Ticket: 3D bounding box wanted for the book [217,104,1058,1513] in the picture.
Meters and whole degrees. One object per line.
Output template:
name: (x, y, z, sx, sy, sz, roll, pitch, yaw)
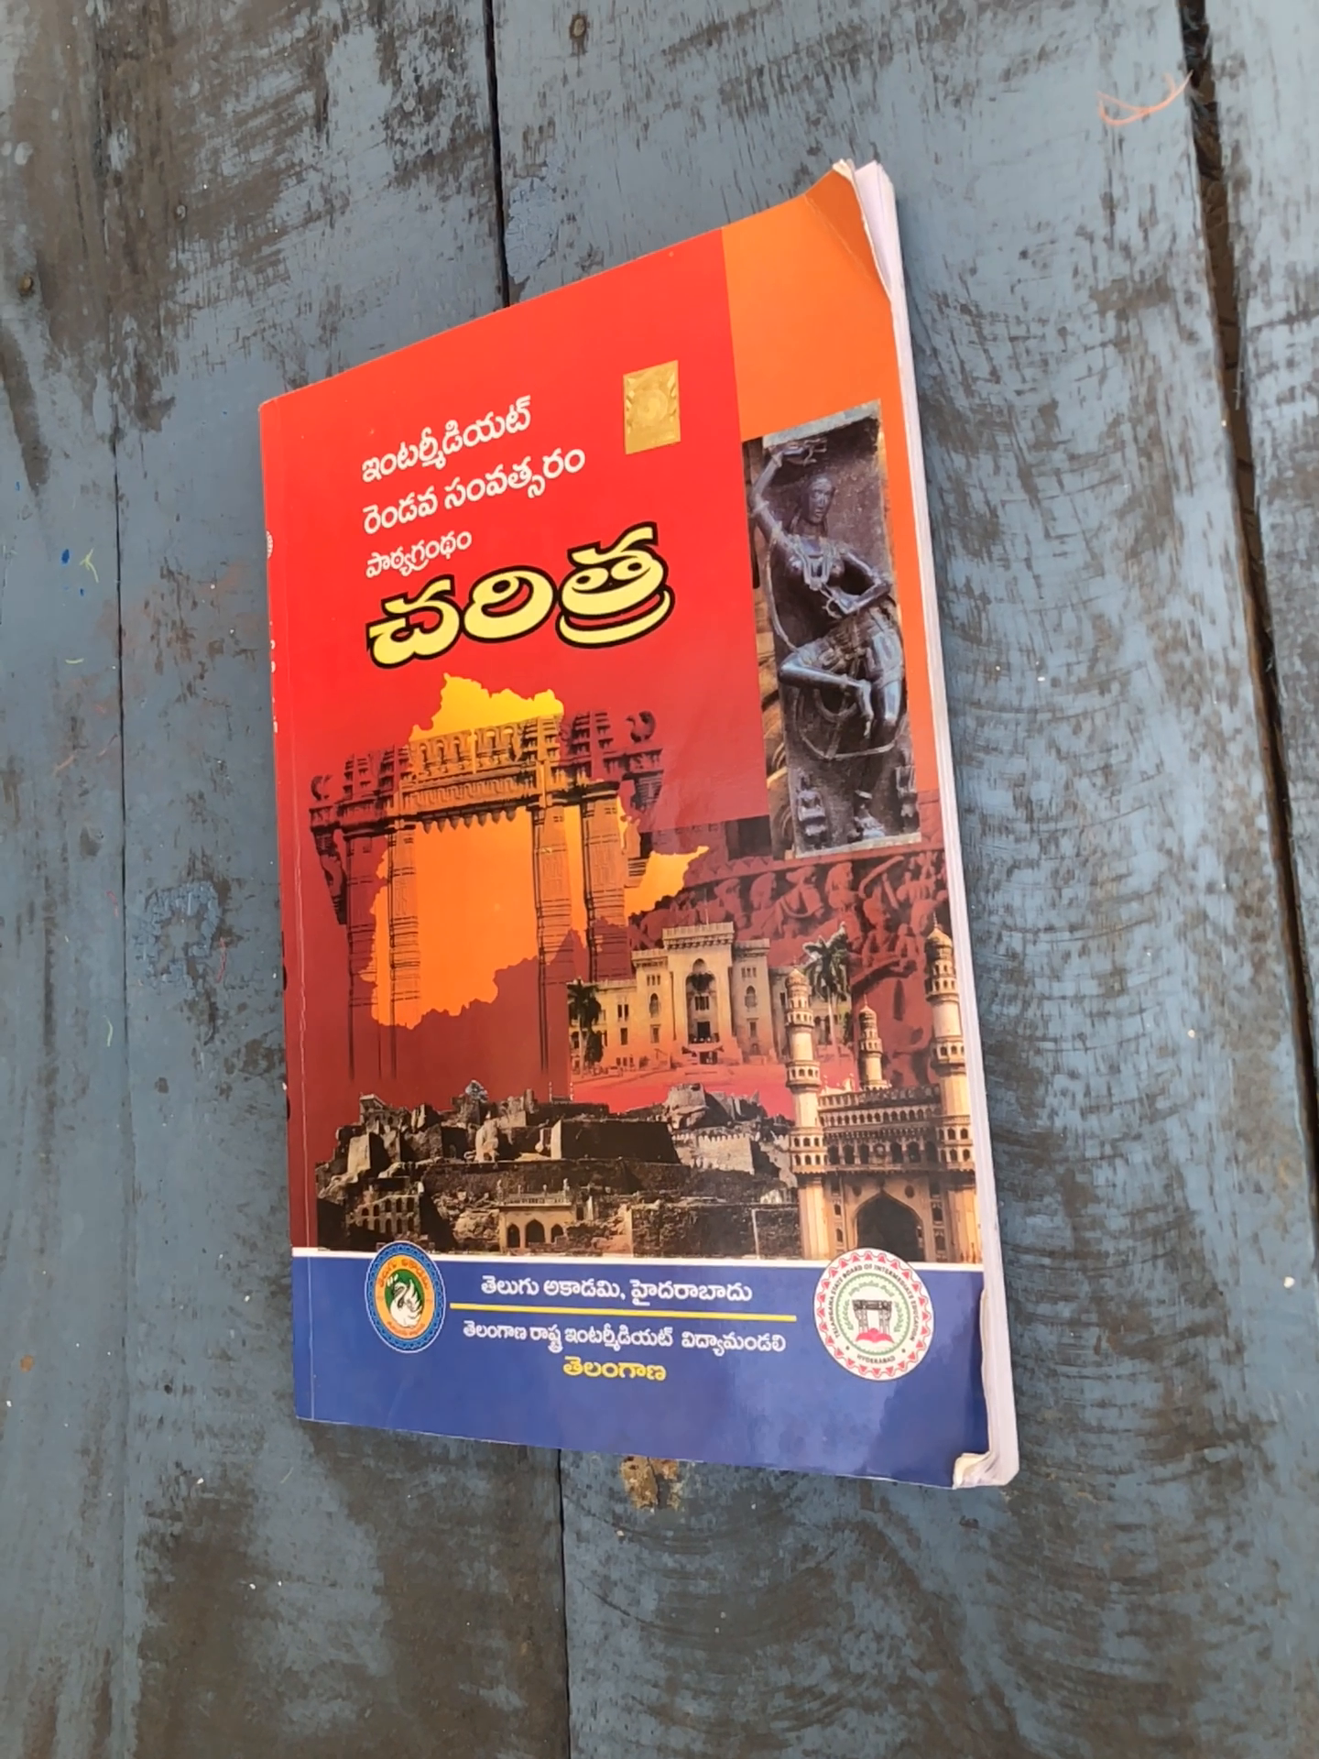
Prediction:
book: (-0.019, -0.011, 0.339, 0.190, 0.040, 0.270, -7, 81, 29)
